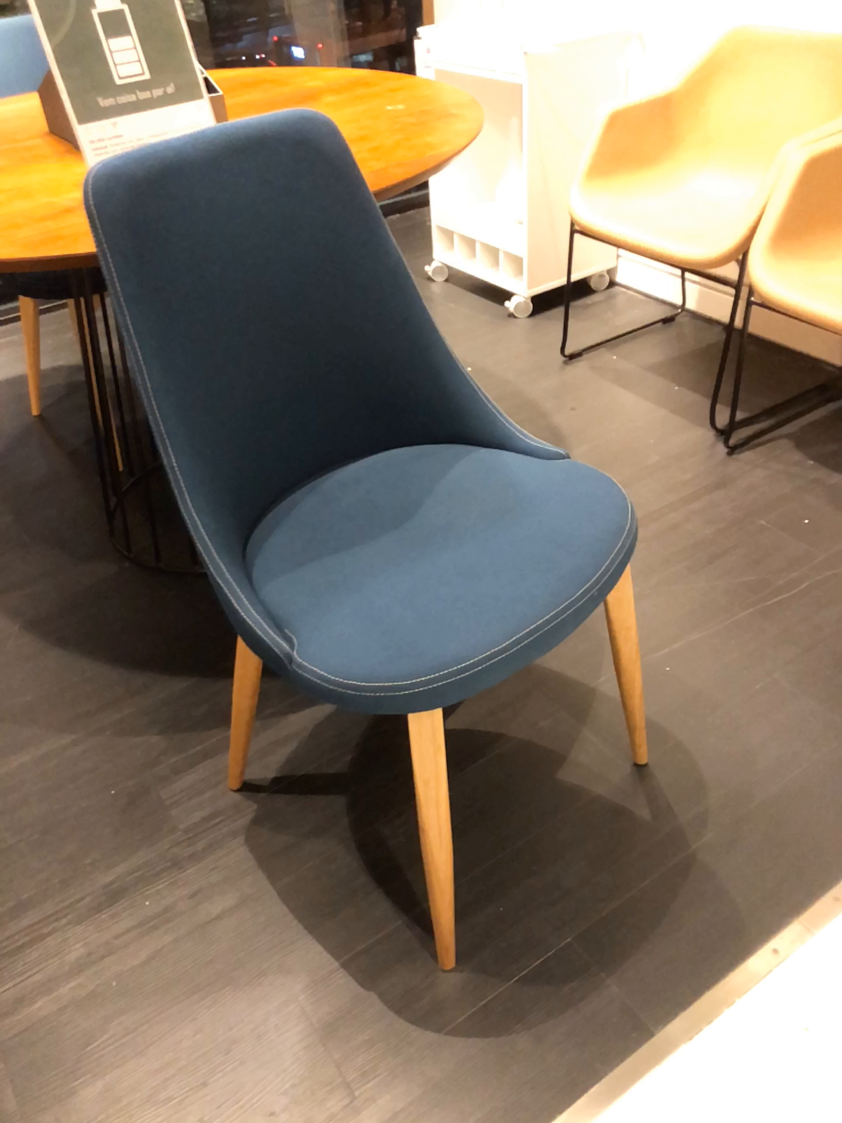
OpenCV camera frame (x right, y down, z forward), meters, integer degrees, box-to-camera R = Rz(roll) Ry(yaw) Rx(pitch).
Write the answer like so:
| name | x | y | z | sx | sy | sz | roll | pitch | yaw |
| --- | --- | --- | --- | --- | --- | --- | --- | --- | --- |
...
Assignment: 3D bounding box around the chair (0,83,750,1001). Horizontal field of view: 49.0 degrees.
| name | x | y | z | sx | sy | sz | roll | pitch | yaw |
| --- | --- | --- | --- | --- | --- | --- | --- | --- | --- |
| chair | -0.034 | -0.048 | 1.142 | 0.542 | 0.854 | 0.522 | 28 | 48 | 36 |
